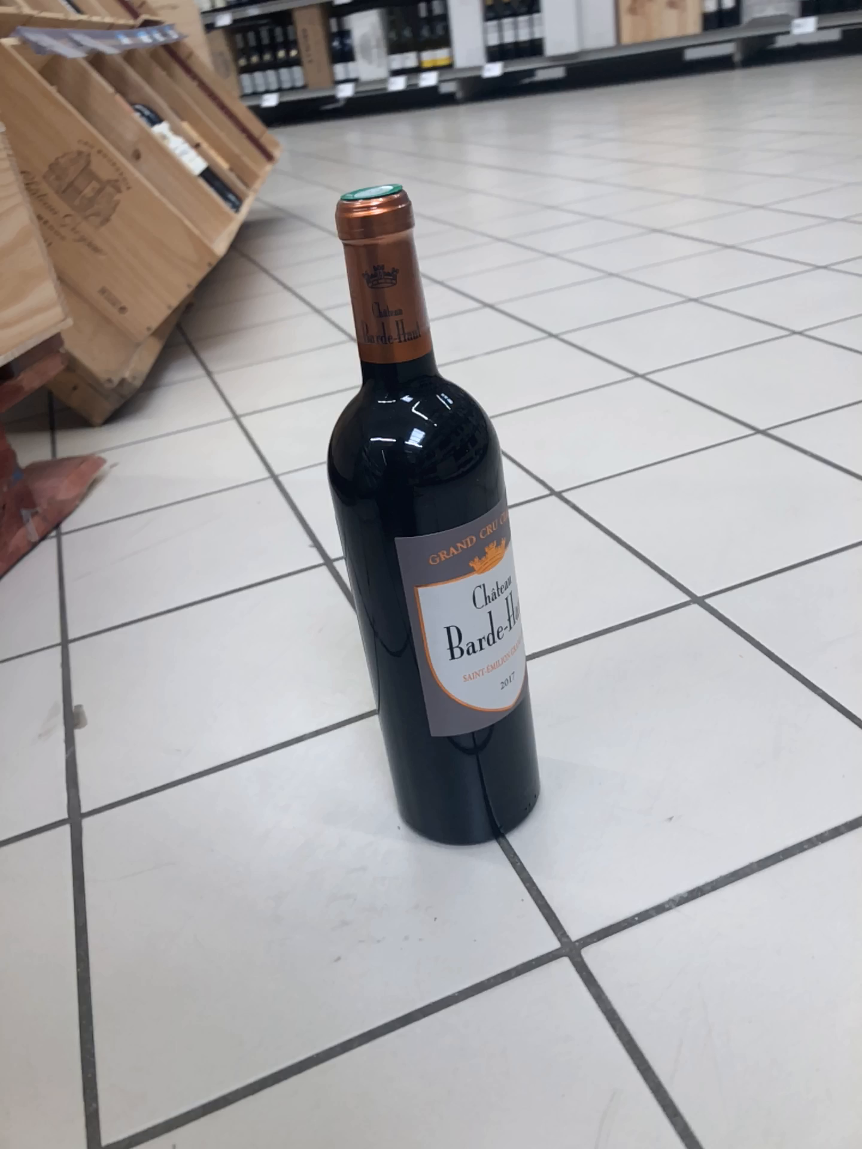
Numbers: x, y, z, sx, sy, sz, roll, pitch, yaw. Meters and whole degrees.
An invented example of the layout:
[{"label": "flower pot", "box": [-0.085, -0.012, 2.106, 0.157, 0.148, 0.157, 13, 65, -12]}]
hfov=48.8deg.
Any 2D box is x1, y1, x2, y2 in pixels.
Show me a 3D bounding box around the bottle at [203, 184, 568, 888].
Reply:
[{"label": "bottle", "box": [-0.007, -0.009, 0.416, 0.080, 0.288, 0.080, -7, 29, 4]}]
